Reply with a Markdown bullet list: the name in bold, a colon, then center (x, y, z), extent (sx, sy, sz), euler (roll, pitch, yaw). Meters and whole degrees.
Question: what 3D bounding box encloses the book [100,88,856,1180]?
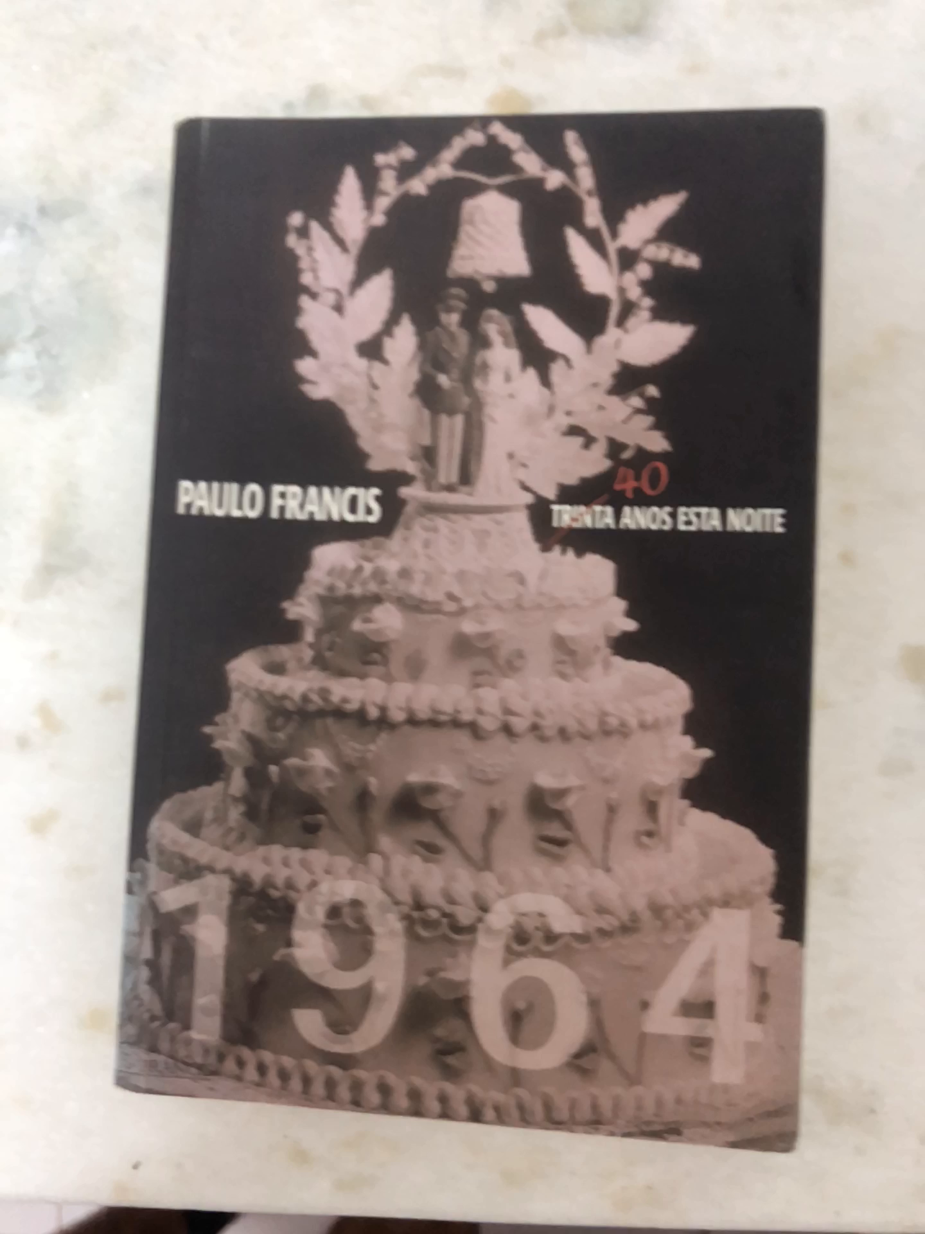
- **book**: center (0.002, -0.001, 0.212), extent (0.140, 0.020, 0.203), euler (2, 88, 7)
